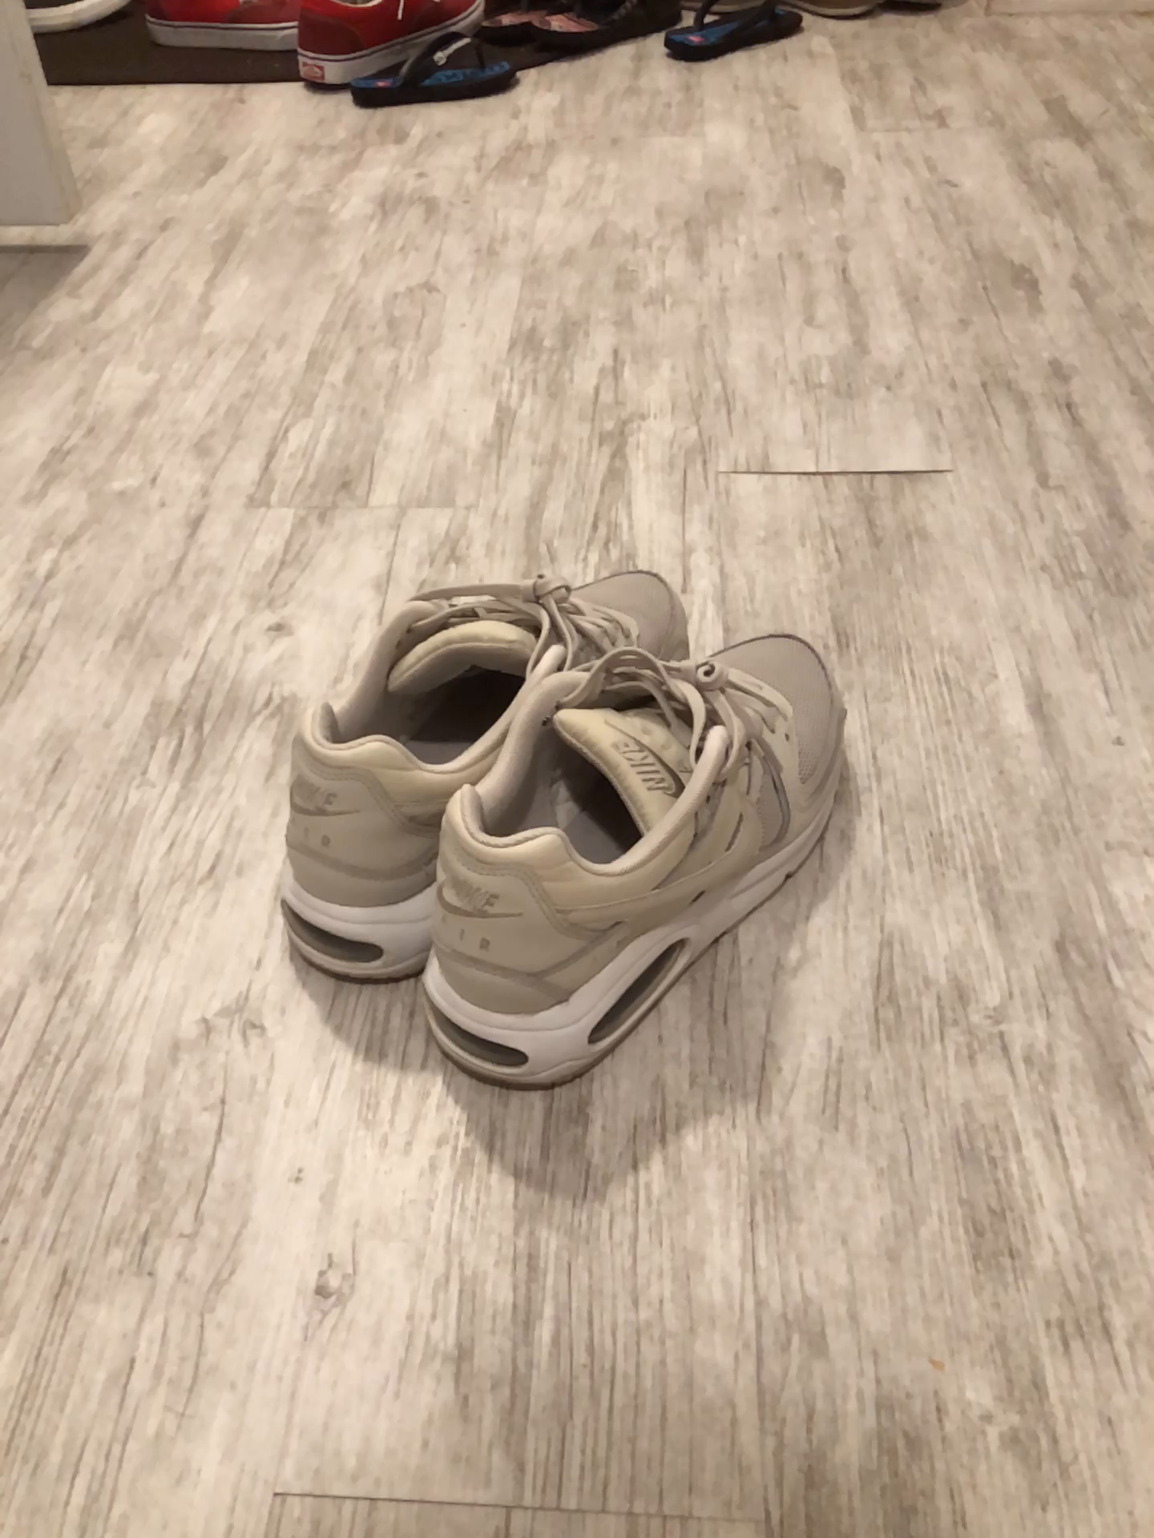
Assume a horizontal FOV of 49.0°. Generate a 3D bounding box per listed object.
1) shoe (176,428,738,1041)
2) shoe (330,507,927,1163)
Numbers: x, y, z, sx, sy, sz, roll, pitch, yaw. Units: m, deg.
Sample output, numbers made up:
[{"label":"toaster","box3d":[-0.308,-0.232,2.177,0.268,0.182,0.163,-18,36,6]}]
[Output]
[{"label":"shoe","box3d":[-0.035,-0.028,0.557,0.100,0.120,0.250,23,50,24]},{"label":"shoe","box3d":[0.032,0.015,0.518,0.090,0.120,0.250,29,52,29]}]
